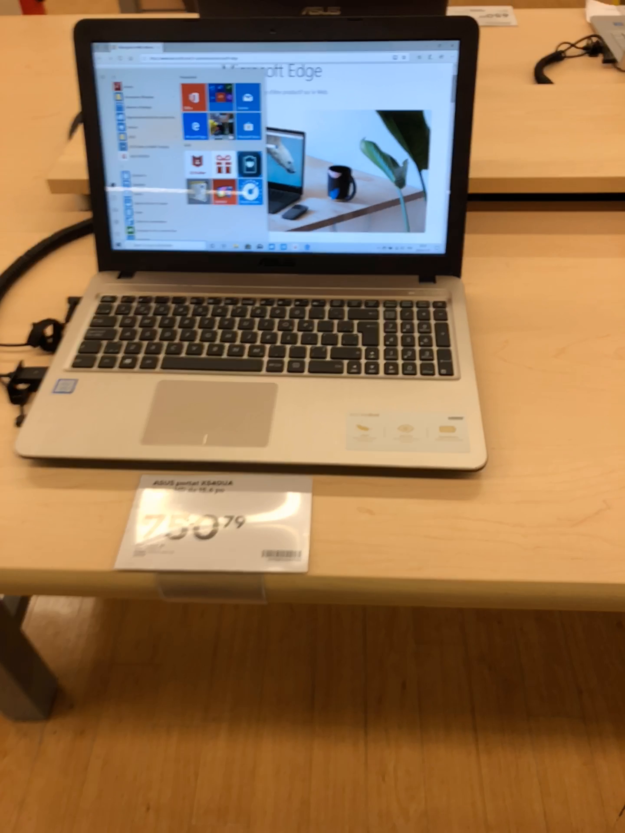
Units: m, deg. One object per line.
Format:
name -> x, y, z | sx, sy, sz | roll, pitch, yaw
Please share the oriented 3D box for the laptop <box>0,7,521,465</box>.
laptop -> -0.054, -0.177, 0.621 | 0.383, 0.215, 0.361 | 1, 49, 3
